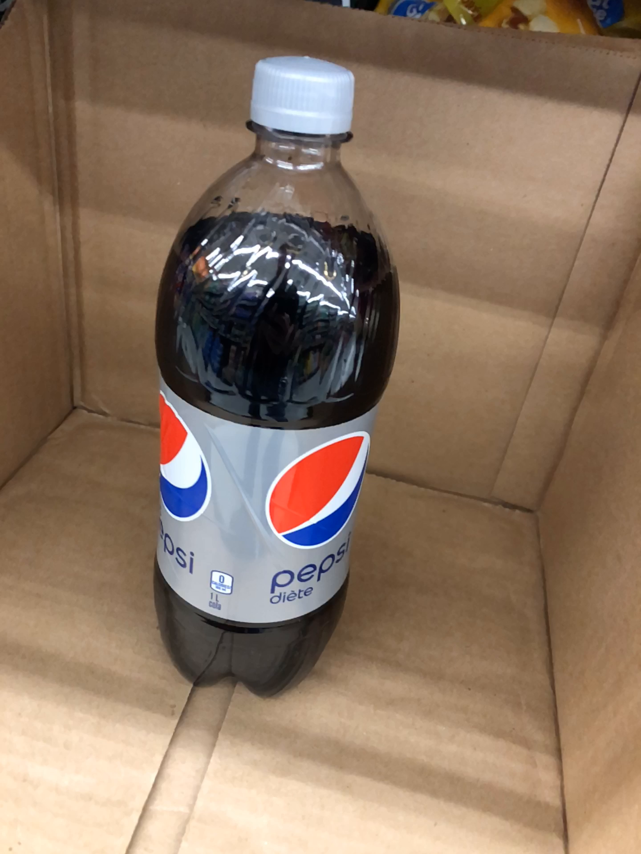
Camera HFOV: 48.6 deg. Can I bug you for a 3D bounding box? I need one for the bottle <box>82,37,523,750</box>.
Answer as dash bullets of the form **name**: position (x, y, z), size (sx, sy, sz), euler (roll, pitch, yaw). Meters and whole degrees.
- **bottle**: position (-0.020, 0.000, 0.252), size (0.090, 0.228, 0.080), euler (-12, 40, -25)
